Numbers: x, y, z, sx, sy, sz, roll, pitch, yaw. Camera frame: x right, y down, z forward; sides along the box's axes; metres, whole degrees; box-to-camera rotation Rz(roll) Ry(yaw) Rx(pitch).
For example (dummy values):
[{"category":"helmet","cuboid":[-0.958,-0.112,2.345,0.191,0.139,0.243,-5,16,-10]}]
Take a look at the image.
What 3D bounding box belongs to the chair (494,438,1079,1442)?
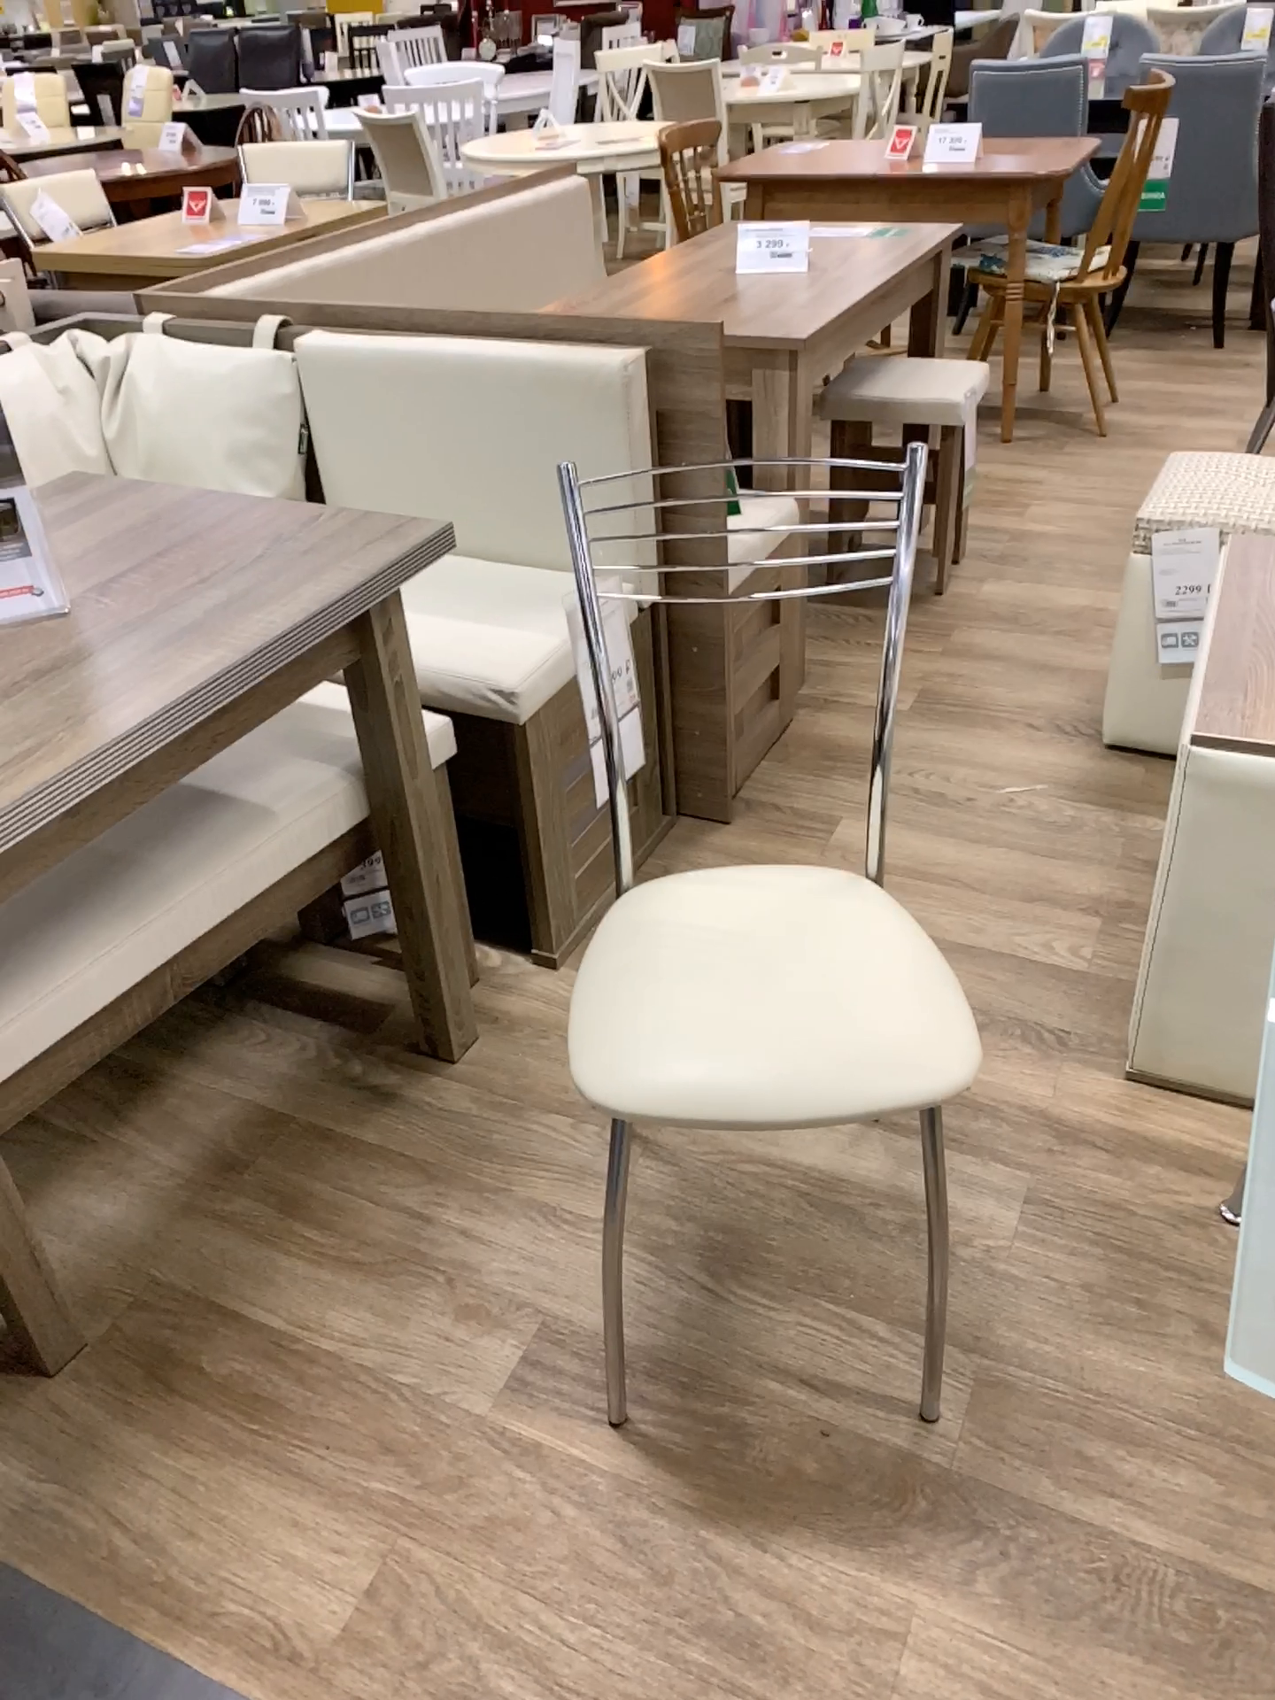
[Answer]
[{"category":"chair","cuboid":[0.140,0.128,1.390,0.413,0.967,0.483,-2,34,4]}]
